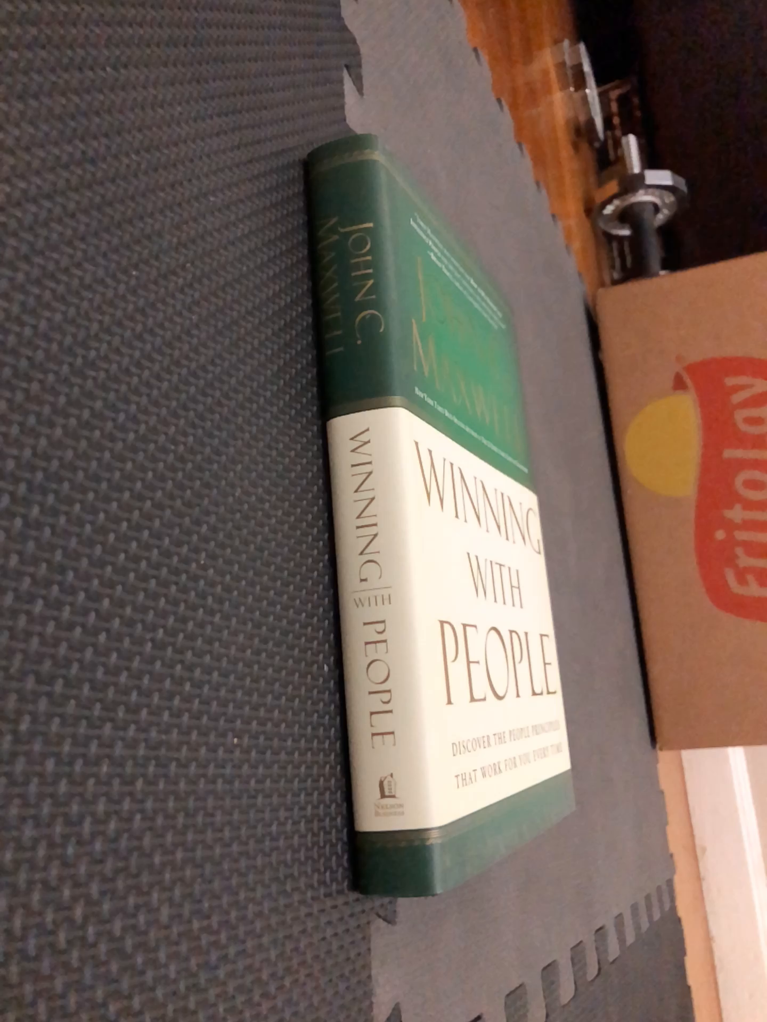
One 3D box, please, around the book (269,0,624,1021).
[{"bbox_3d":[0.033,0.001,0.316,0.201,0.030,0.290,24,58,-62],"label":"book"}]
